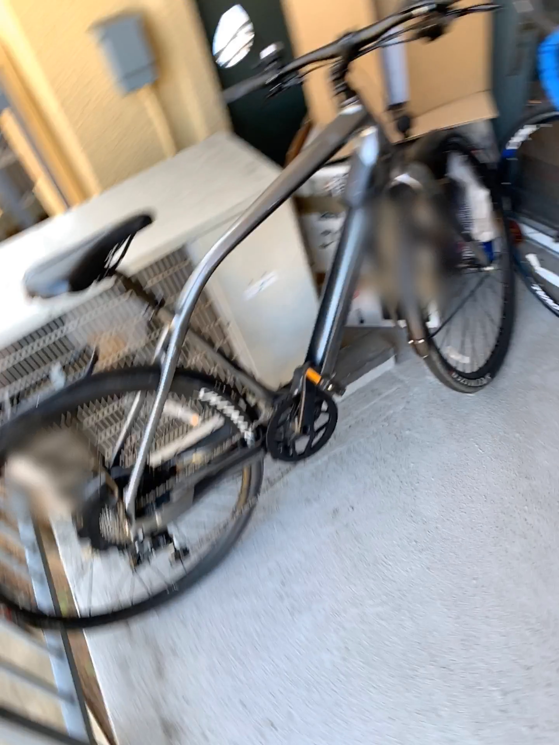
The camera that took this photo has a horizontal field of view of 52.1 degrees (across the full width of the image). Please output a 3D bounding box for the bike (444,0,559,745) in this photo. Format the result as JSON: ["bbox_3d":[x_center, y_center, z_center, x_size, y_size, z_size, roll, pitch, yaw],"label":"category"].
[{"bbox_3d":[0.908,-0.170,1.004,0.363,0.934,1.505,-27,50,-7],"label":"bike"}]

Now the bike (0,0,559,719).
[{"bbox_3d":[-0.090,-0.185,1.339,1.585,0.973,0.623,-37,48,-18],"label":"bike"}]
